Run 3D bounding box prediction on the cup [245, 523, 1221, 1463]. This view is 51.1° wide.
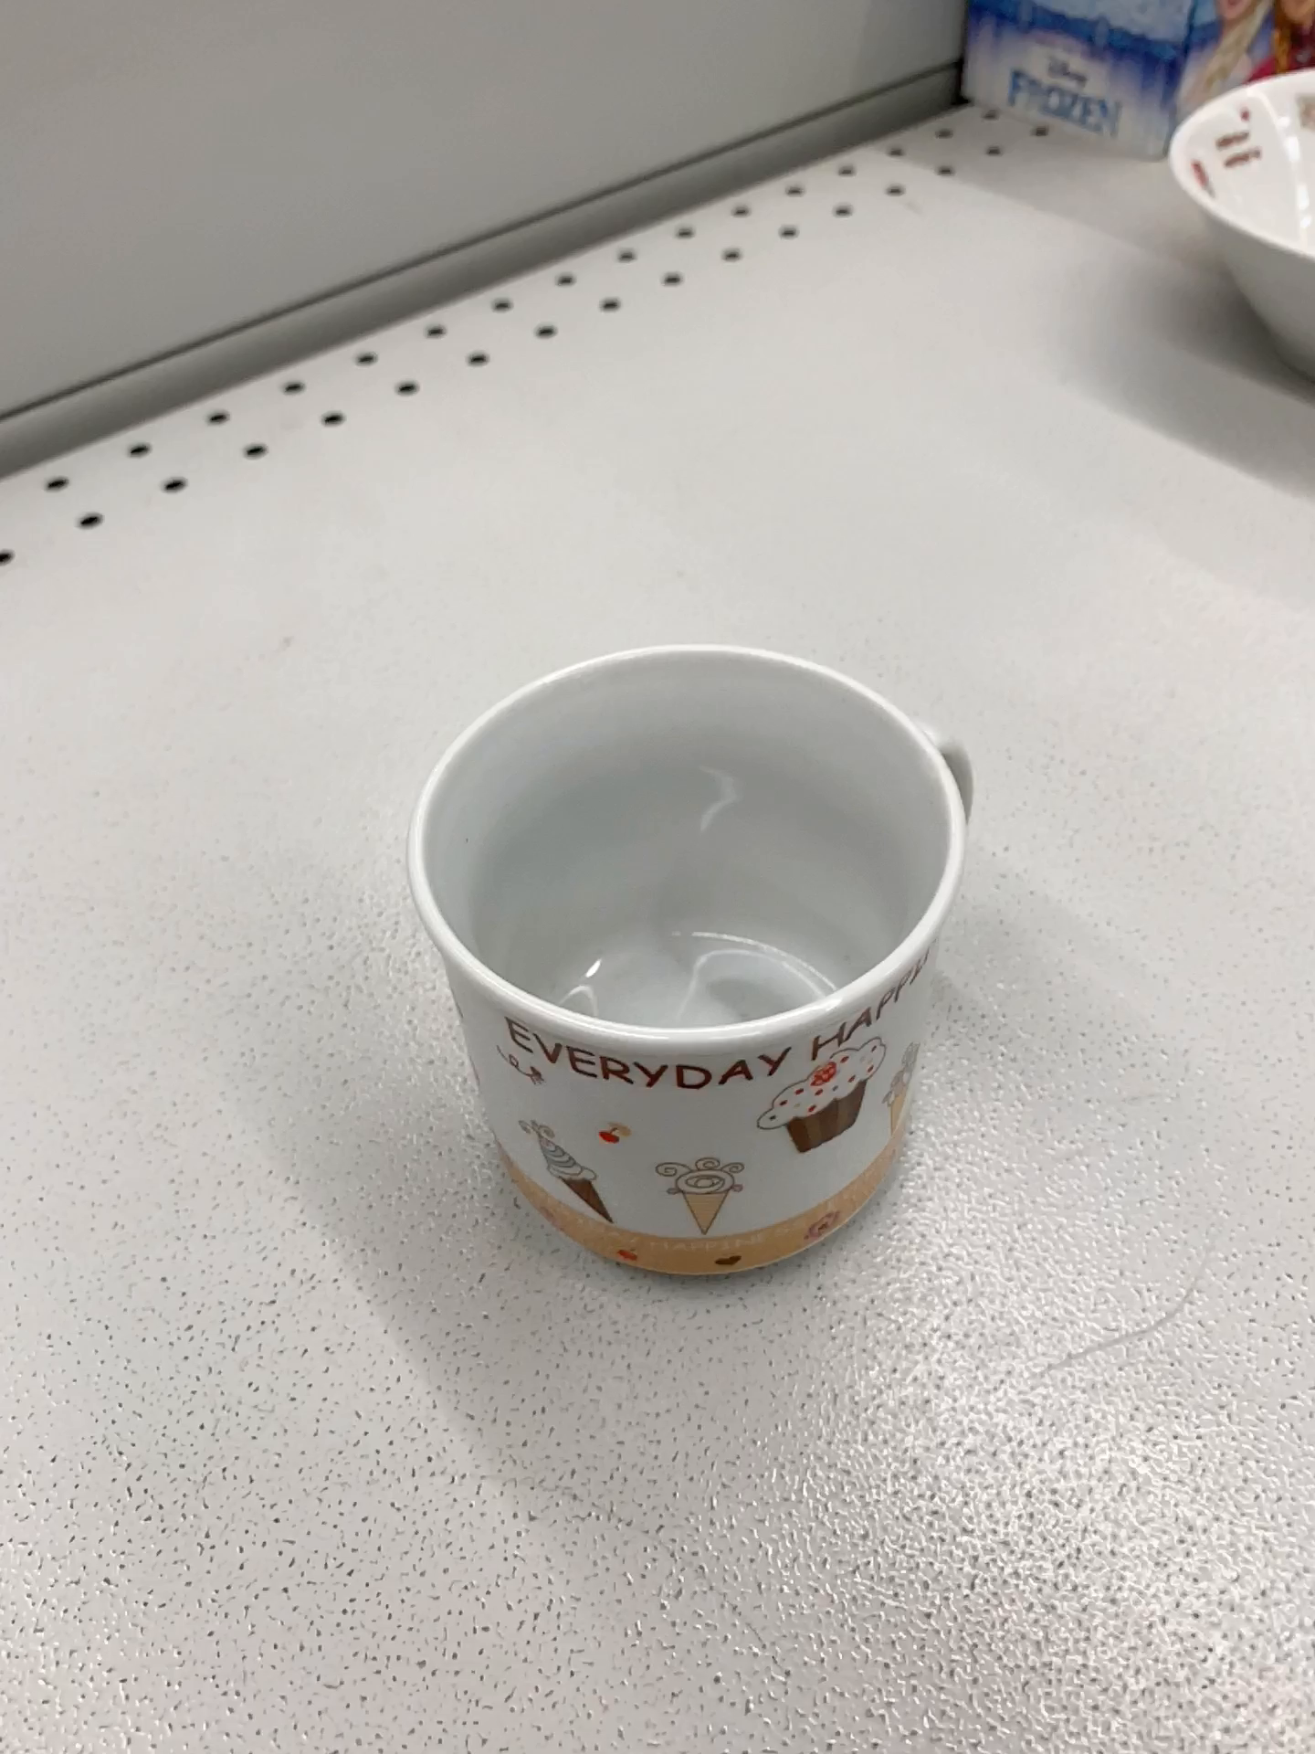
[{"bbox_3d":[0.012,0.012,0.214,0.109,0.069,0.079,-32,53,-22],"label":"cup"}]
